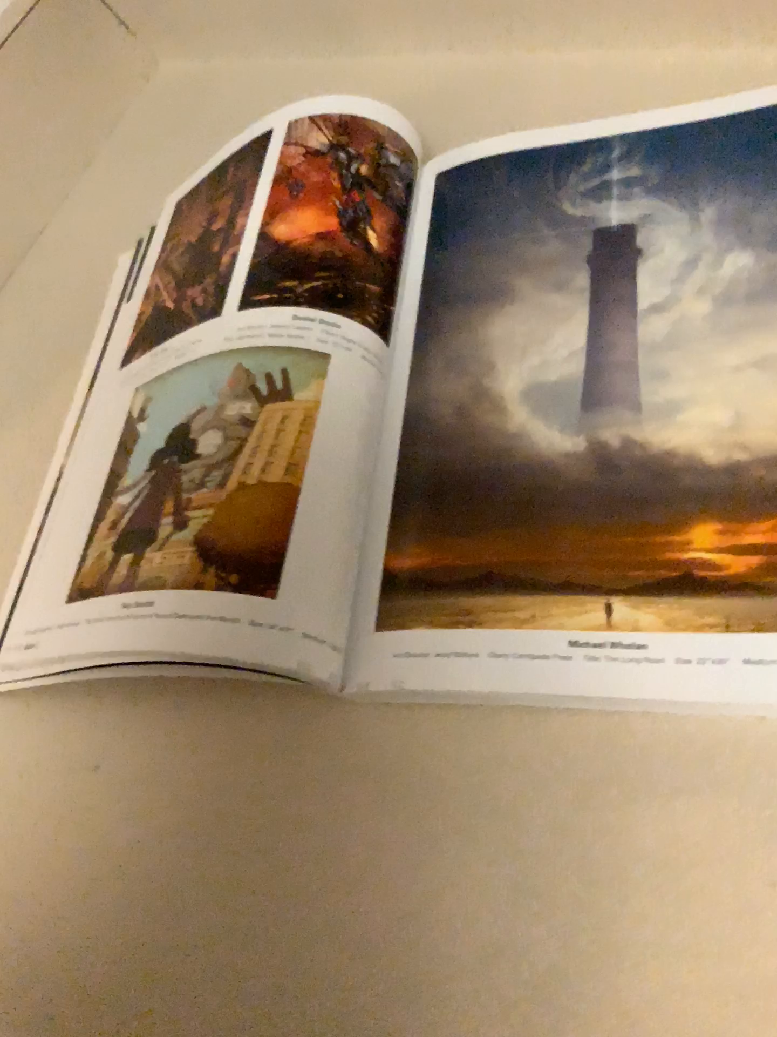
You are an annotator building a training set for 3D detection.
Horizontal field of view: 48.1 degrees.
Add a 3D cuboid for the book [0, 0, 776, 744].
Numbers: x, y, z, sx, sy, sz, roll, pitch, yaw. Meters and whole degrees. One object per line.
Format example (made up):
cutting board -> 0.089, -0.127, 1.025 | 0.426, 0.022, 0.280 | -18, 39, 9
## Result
book -> -0.001, -0.076, 0.400 | 0.450, 0.070, 0.320 | -3, 61, 23
